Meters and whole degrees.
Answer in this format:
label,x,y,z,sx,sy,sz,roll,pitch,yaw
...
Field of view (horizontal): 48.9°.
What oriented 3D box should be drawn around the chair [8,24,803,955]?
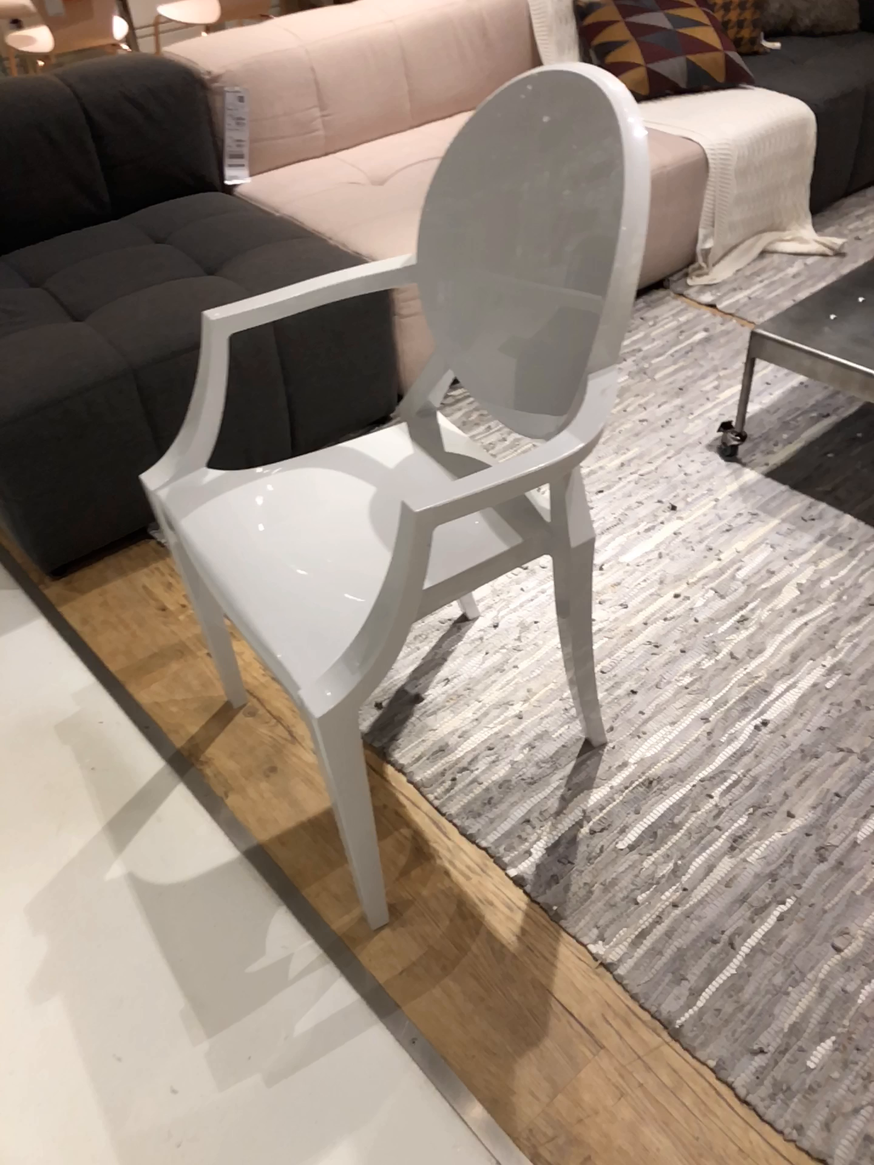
label,x,y,z,sx,sy,sz,roll,pitch,yaw
chair,-0.030,-0.112,1.162,0.551,0.843,0.513,-25,45,-22
